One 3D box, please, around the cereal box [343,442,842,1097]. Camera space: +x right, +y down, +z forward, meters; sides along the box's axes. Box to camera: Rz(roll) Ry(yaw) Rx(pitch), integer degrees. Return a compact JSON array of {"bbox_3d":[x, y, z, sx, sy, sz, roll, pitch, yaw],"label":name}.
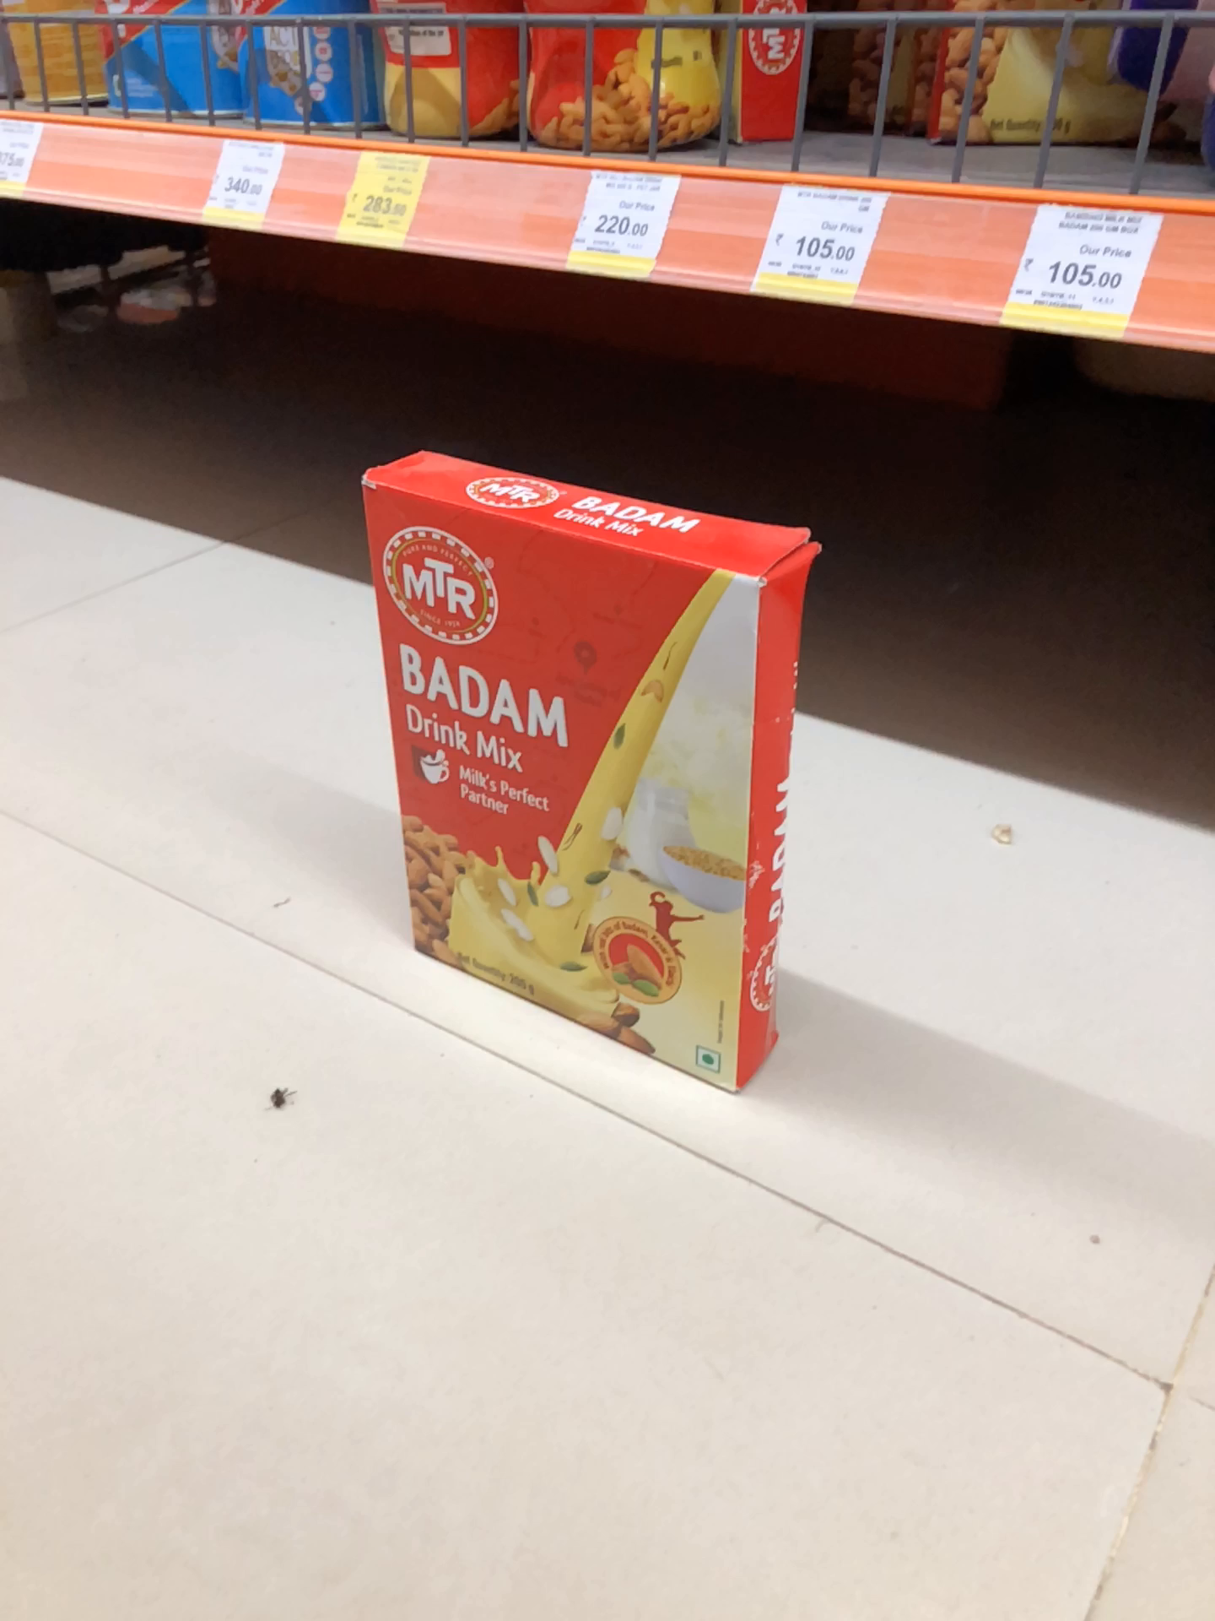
[{"bbox_3d":[-0.007,-0.013,0.392,0.130,0.159,0.040,19,36,28],"label":"cereal box"}]
